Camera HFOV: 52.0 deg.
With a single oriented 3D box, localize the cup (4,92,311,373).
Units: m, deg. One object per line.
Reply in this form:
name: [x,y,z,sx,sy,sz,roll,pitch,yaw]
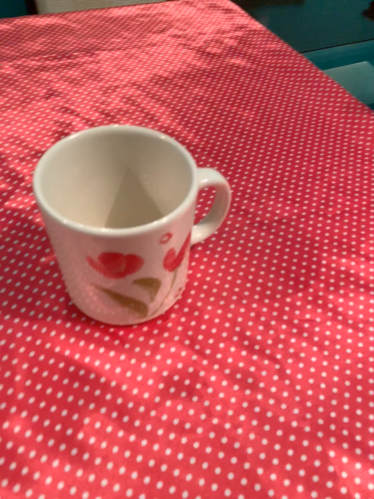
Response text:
cup: [-0.017,-0.014,0.222,0.120,0.090,0.090,-24,58,-22]
